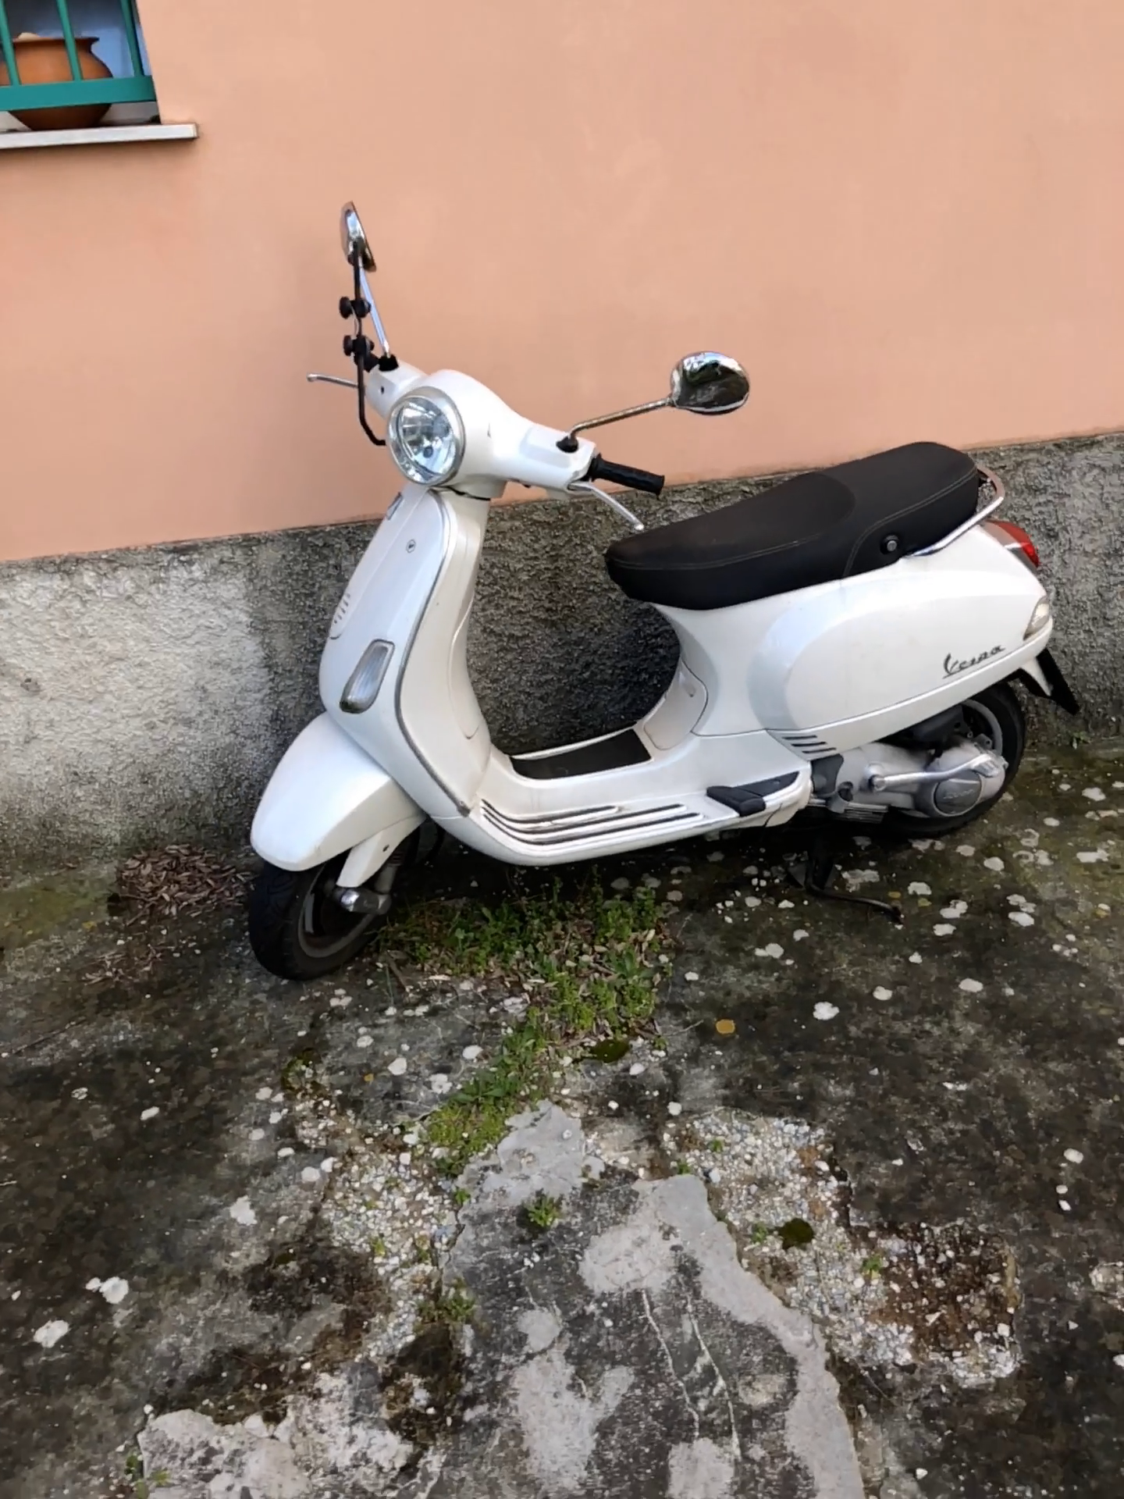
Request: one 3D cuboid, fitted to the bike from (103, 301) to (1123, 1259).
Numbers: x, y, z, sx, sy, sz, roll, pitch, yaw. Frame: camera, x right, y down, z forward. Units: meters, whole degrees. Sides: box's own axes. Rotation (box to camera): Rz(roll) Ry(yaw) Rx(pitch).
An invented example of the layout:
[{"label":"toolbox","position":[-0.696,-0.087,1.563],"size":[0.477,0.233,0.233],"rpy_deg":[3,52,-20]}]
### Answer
[{"label":"bike","position":[0.210,-0.046,2.156],"size":[1.658,1.085,0.647],"rpy_deg":[-13,26,-13]}]
